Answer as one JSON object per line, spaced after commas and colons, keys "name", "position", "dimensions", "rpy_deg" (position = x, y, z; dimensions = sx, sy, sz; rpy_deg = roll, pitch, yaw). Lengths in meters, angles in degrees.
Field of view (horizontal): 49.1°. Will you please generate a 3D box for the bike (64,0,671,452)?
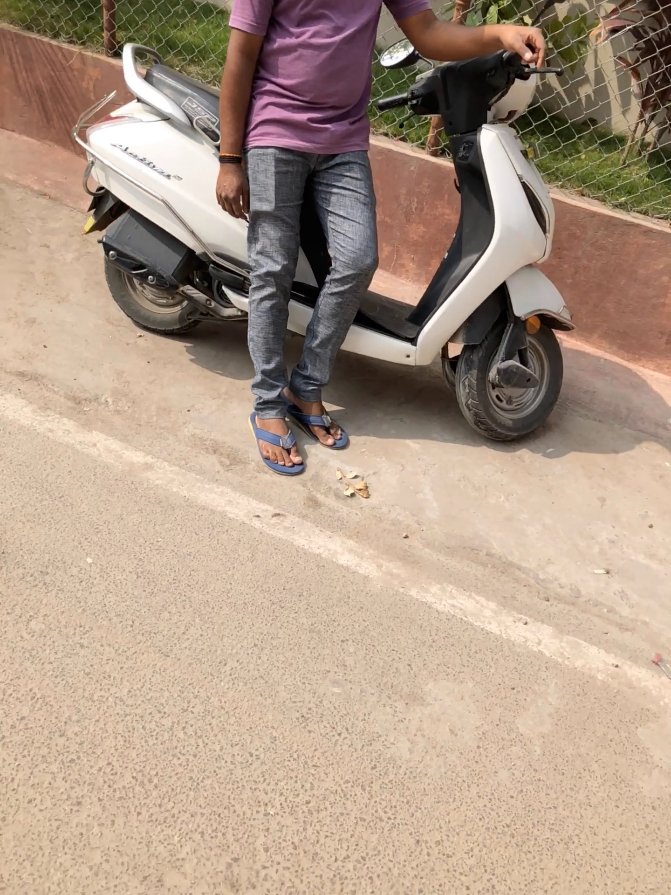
{"name": "bike", "position": [0.061, -0.778, 2.394], "dimensions": [1.550, 1.112, 0.622], "rpy_deg": [14, 36, 3]}
